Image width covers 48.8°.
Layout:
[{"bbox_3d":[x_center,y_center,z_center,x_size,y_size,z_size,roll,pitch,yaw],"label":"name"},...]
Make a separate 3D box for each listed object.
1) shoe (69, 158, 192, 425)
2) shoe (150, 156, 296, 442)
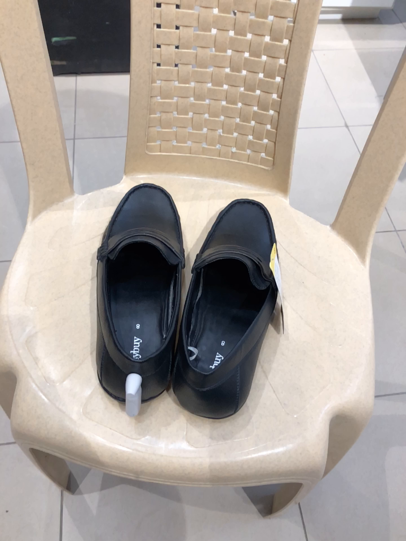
[{"bbox_3d":[-0.065,0.011,0.477,0.100,0.088,0.276,0,57,-3],"label":"shoe"},{"bbox_3d":[0.029,0.017,0.474,0.100,0.088,0.284,10,57,3],"label":"shoe"}]
